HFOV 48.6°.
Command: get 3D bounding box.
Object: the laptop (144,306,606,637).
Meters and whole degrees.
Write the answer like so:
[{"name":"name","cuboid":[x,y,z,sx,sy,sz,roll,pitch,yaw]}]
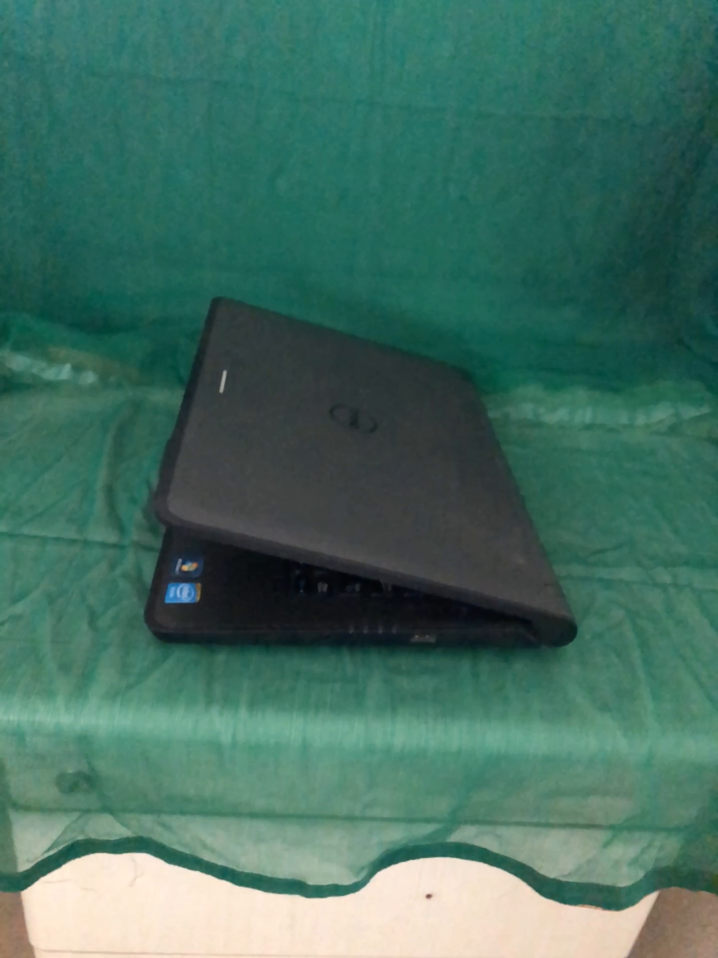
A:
[{"name":"laptop","cuboid":[-0.002,-0.026,0.537,0.229,0.064,0.307,3,31,-6]}]
